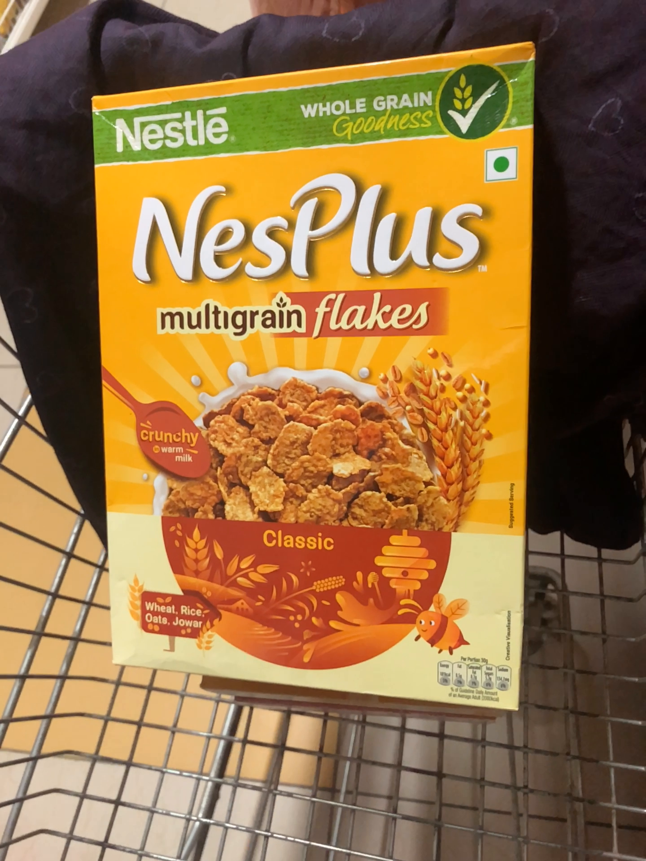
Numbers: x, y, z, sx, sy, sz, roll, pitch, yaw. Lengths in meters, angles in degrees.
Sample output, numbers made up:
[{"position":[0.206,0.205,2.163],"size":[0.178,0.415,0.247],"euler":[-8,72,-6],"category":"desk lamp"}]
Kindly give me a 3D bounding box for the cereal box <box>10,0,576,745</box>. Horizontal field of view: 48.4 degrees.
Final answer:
[{"position":[-0.009,-0.022,0.298],"size":[0.190,0.080,0.260],"euler":[2,102,12],"category":"cereal box"}]
